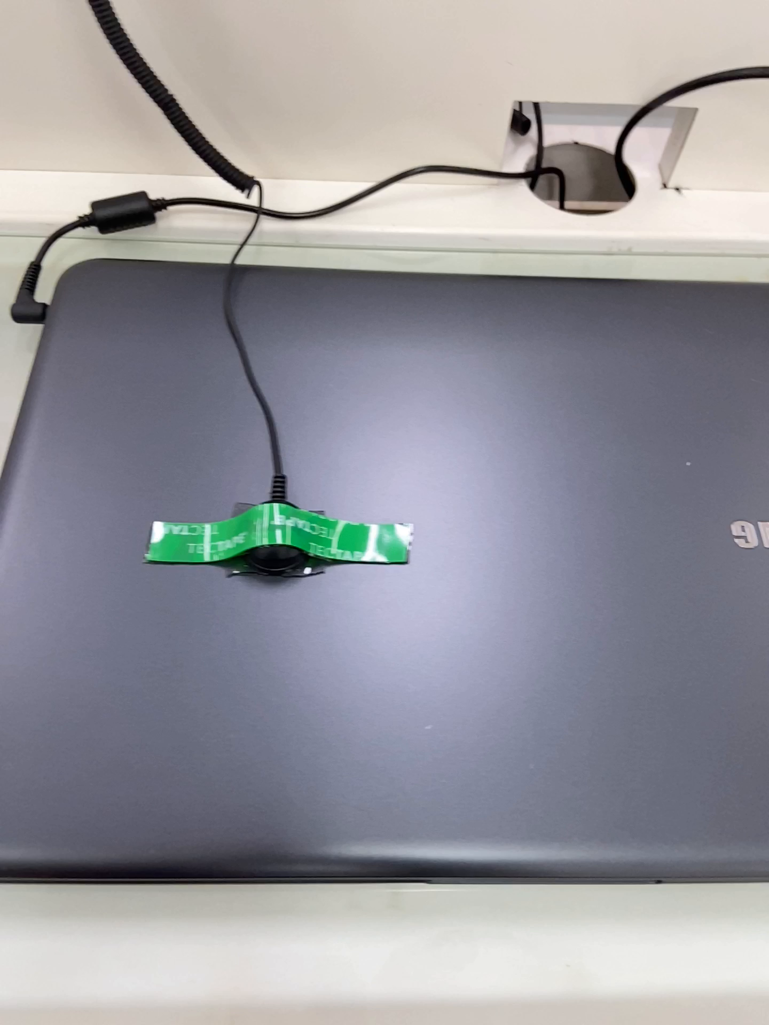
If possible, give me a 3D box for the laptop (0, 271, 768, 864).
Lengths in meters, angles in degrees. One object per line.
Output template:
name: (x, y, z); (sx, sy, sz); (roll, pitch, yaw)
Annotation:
laptop: (0.047, 0.002, 0.290); (0.350, 0.001, 0.233); (1, 59, -3)
